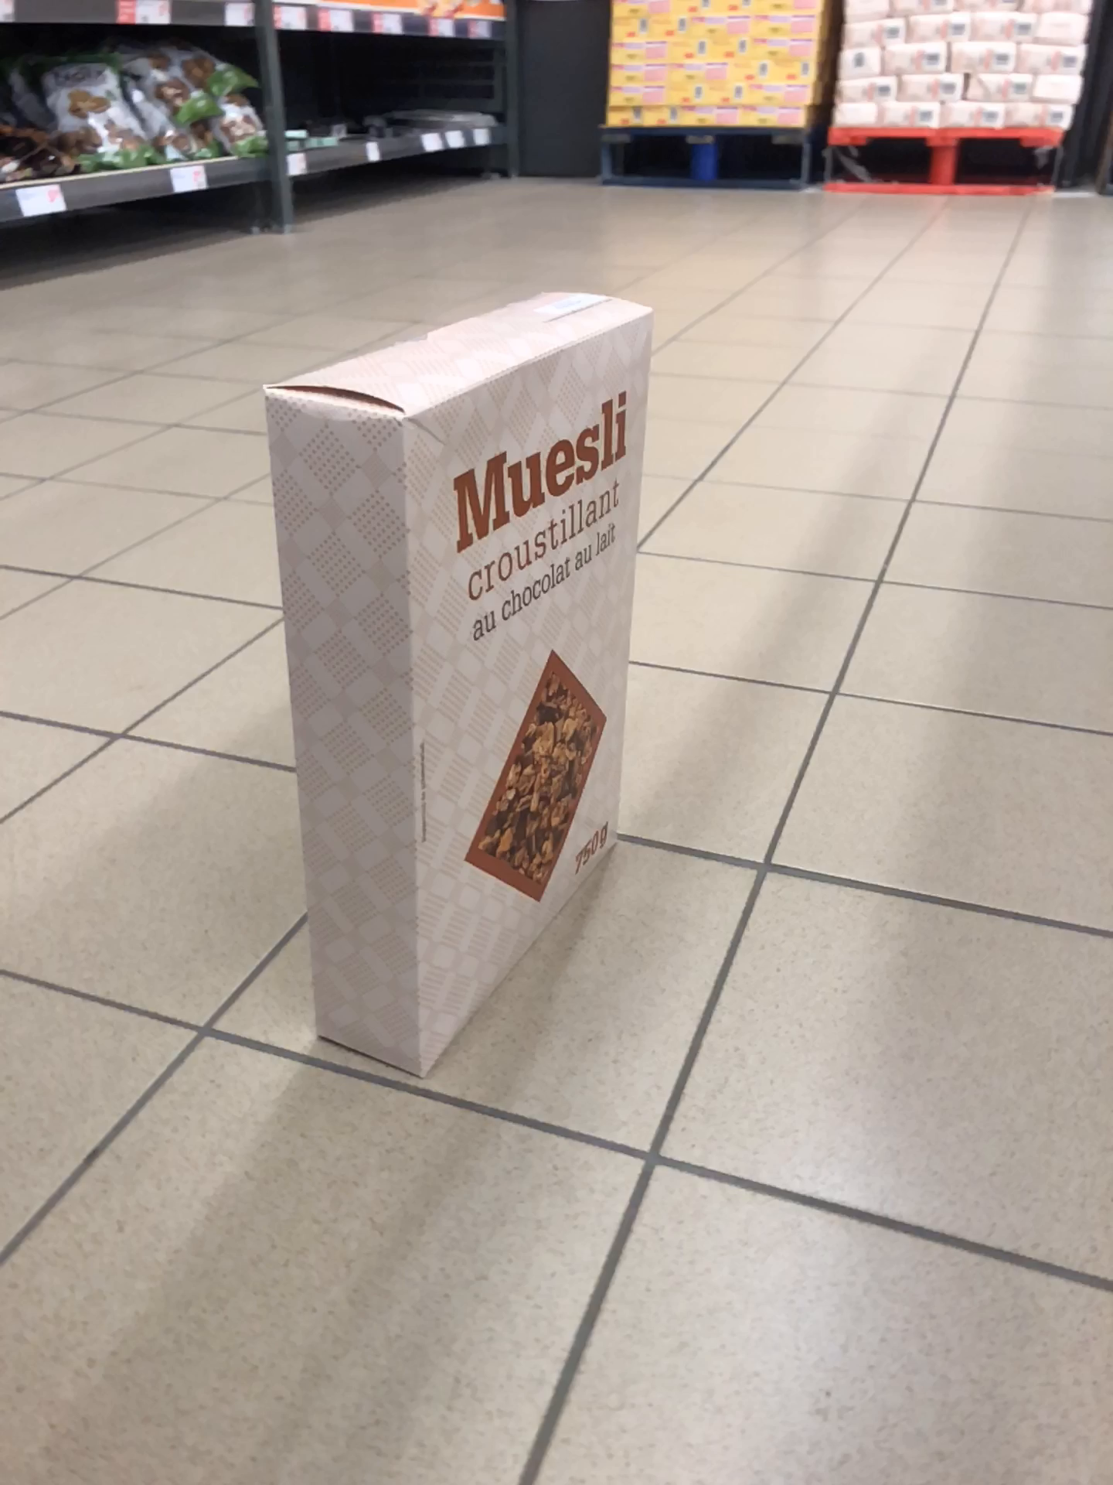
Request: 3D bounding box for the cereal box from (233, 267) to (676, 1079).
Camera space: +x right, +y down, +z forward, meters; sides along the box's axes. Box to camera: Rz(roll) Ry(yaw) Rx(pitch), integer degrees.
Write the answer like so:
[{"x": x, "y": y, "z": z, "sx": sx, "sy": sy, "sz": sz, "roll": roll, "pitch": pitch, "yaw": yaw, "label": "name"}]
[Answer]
[{"x": -0.029, "y": -0.036, "z": 0.501, "sx": 0.060, "sy": 0.268, "sz": 0.201, "roll": 16, "pitch": 32, "yaw": 23, "label": "cereal box"}]
